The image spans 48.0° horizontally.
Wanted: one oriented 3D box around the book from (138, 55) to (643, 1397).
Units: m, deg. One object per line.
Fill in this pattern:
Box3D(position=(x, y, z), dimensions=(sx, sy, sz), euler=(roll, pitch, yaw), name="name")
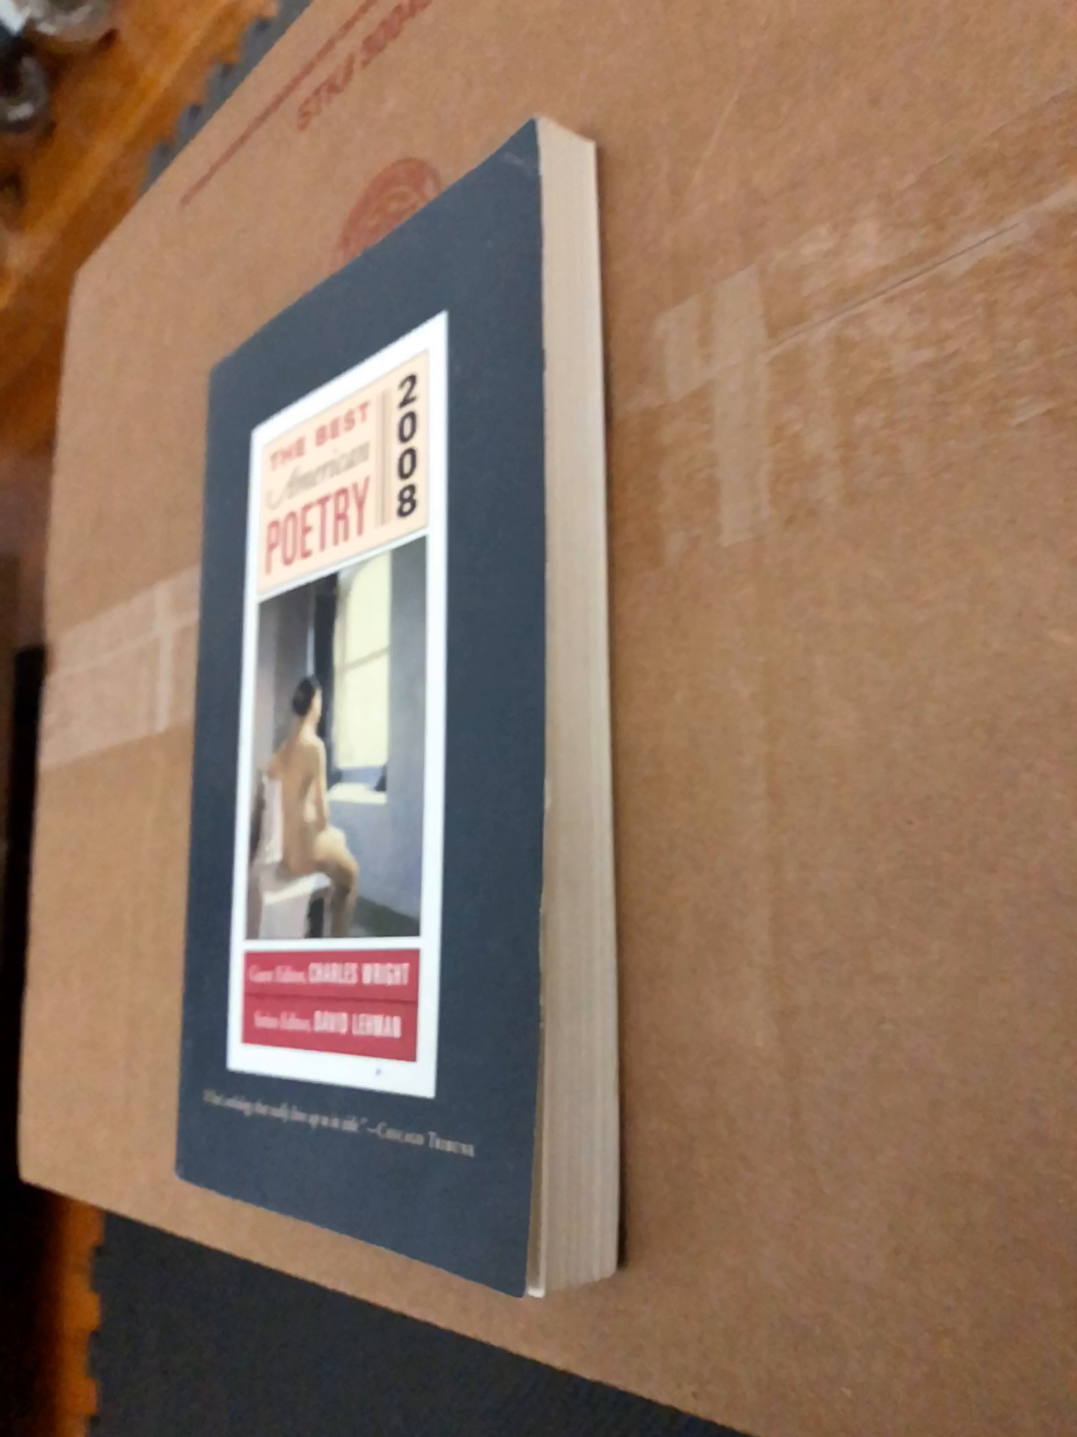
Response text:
Box3D(position=(-0.041, 0.001, 0.265), dimensions=(0.151, 0.020, 0.230), euler=(-14, 72, 48), name="book")
